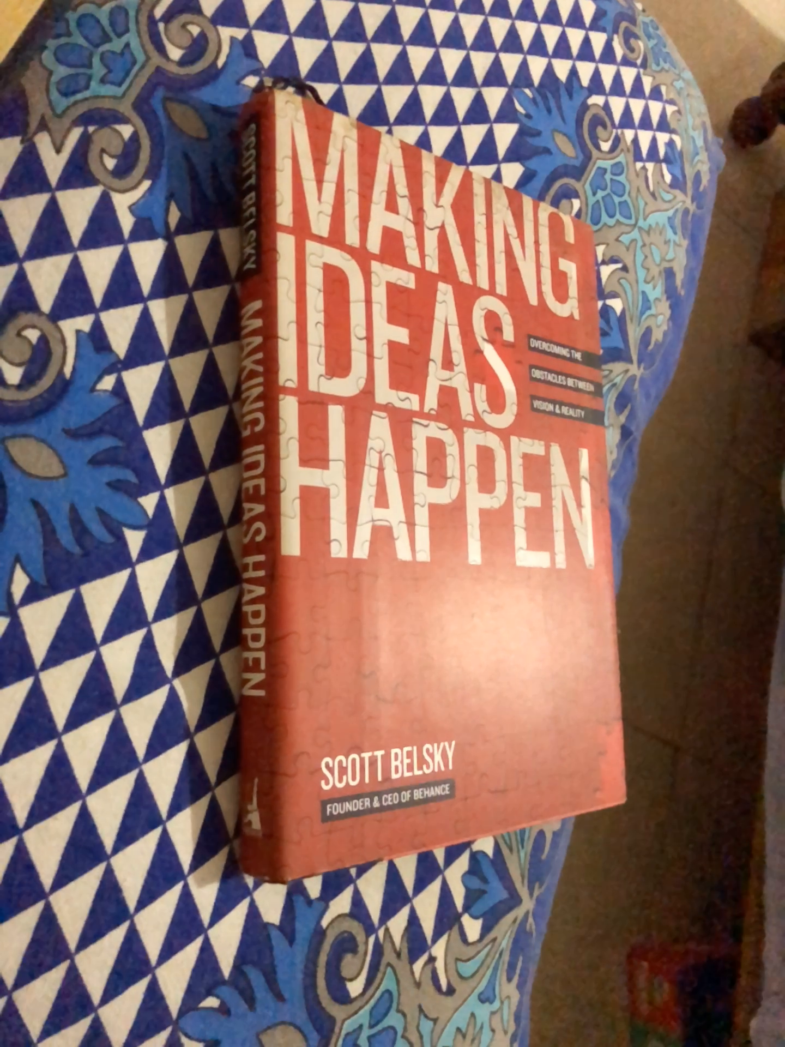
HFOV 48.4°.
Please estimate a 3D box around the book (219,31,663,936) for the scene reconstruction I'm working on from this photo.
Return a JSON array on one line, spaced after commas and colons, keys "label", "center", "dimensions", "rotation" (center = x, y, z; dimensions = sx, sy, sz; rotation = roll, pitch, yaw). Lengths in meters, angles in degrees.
[{"label": "book", "center": [0.024, -0.012, 0.297], "dimensions": [0.161, 0.030, 0.250], "rotation": [8, 77, -39]}]
